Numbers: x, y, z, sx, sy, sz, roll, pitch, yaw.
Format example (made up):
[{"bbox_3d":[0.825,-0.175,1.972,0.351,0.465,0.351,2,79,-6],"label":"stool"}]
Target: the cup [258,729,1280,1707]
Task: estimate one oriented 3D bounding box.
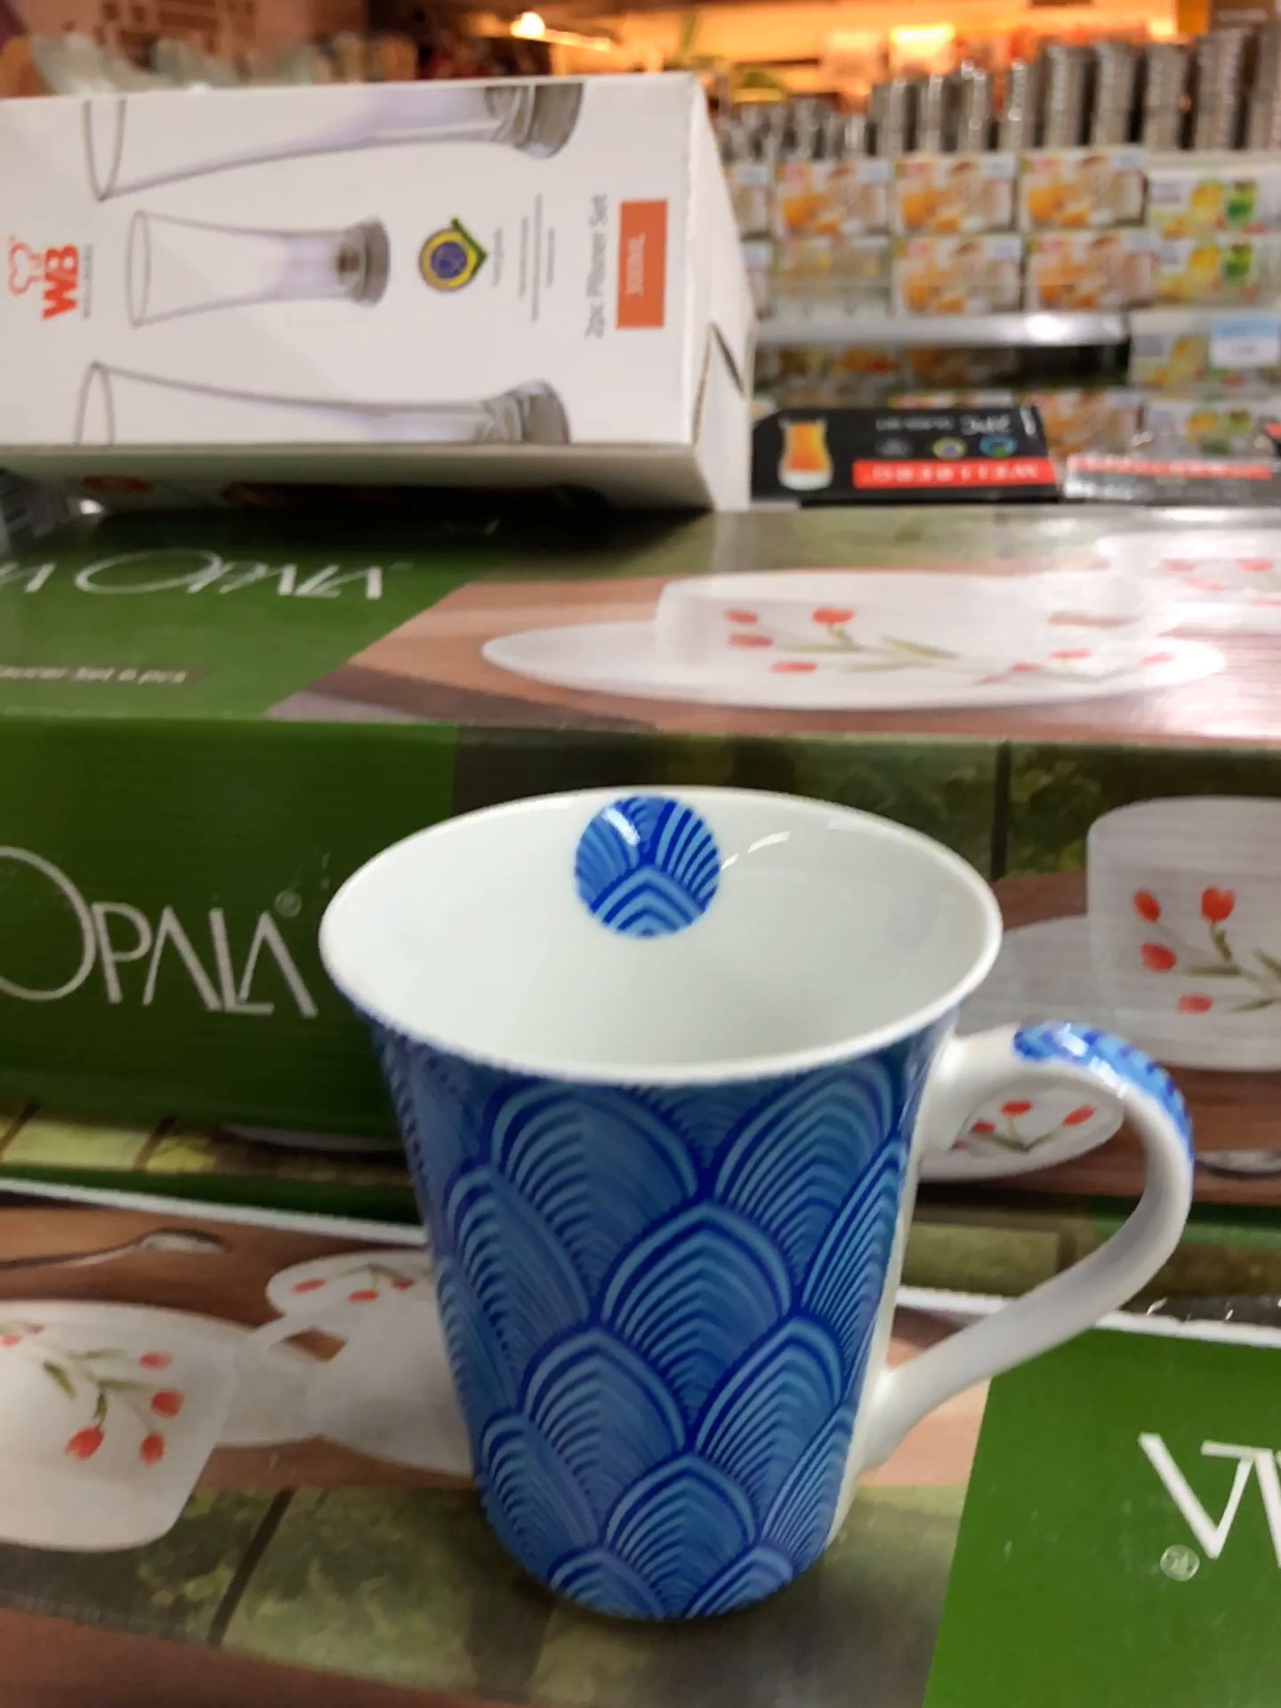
[{"bbox_3d":[0.024,0.047,0.201,0.110,0.099,0.080,4,28,14],"label":"cup"}]
